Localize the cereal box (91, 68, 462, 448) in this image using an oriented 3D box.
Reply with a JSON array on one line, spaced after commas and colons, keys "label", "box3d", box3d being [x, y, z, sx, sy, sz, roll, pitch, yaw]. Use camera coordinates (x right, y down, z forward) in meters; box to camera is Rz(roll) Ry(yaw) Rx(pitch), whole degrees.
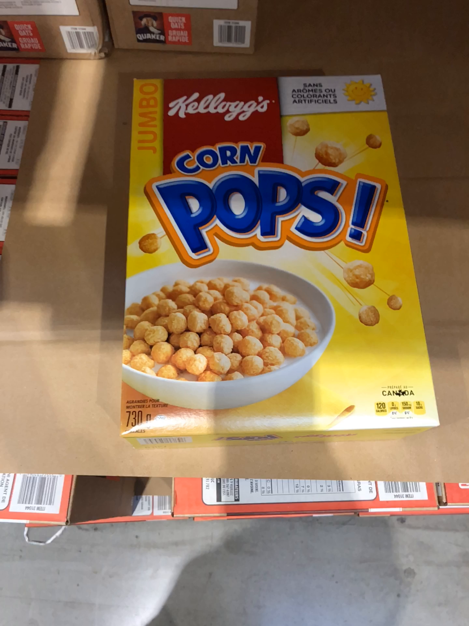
[{"label": "cereal box", "box3d": [0.027, -0.058, 0.486, 0.270, 0.100, 0.340, -1, 69, -1]}]
